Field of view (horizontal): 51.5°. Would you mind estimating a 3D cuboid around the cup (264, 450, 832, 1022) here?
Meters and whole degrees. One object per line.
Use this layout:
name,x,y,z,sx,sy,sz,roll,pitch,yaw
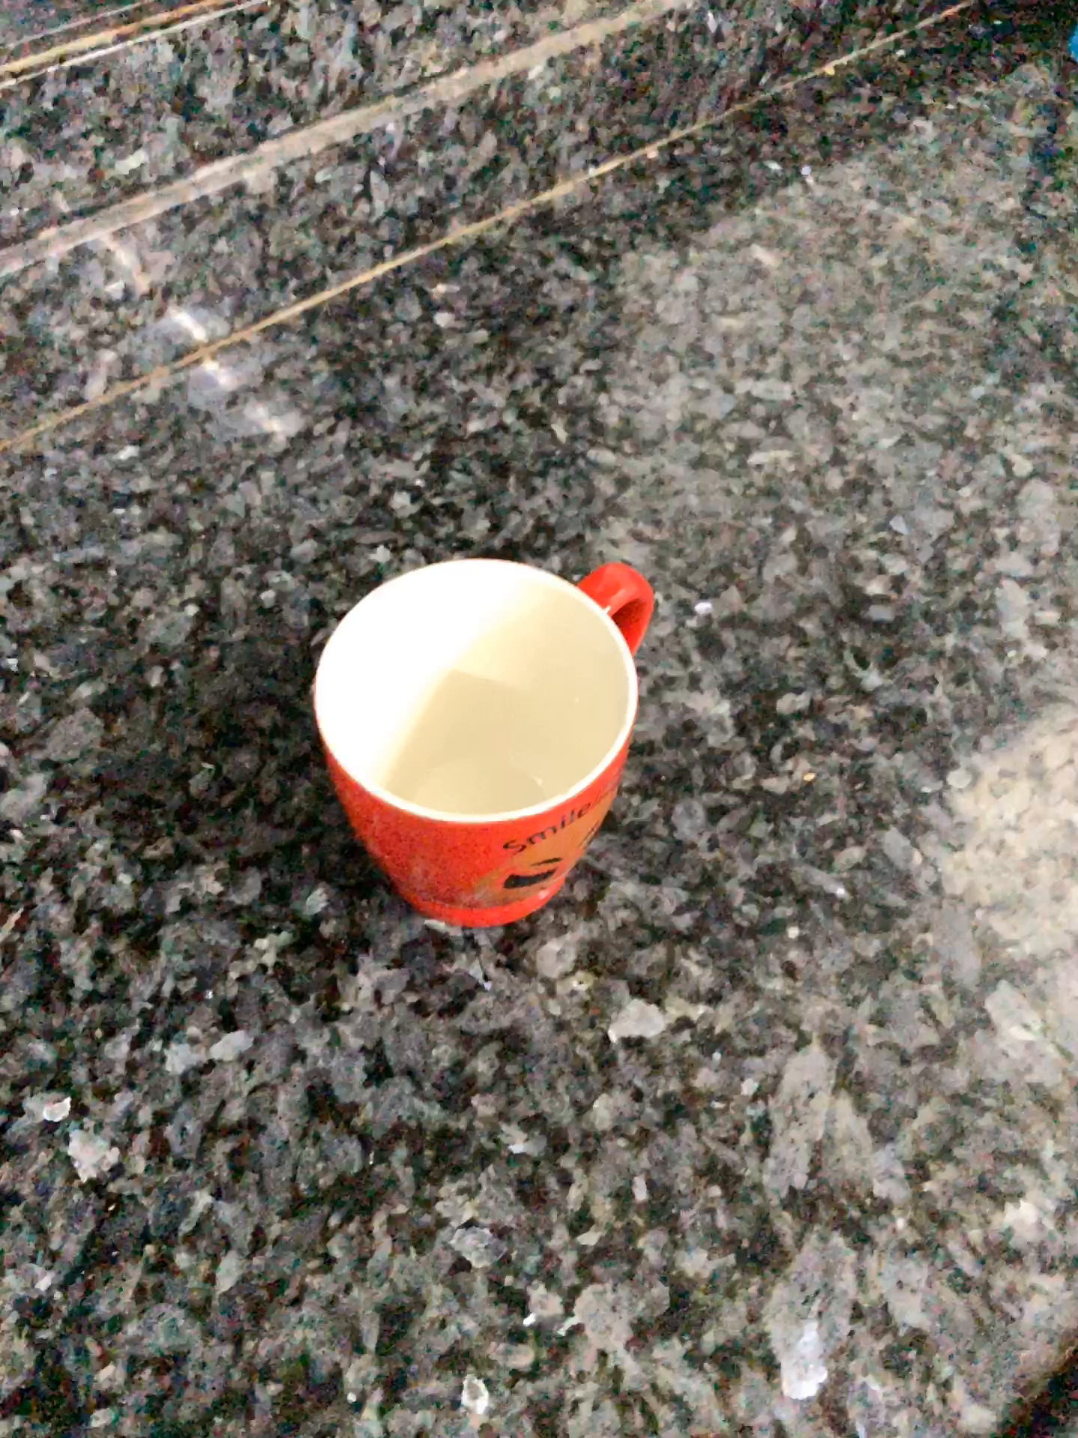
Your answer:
cup,0.003,0.002,0.280,0.110,0.070,0.070,-37,66,-24
